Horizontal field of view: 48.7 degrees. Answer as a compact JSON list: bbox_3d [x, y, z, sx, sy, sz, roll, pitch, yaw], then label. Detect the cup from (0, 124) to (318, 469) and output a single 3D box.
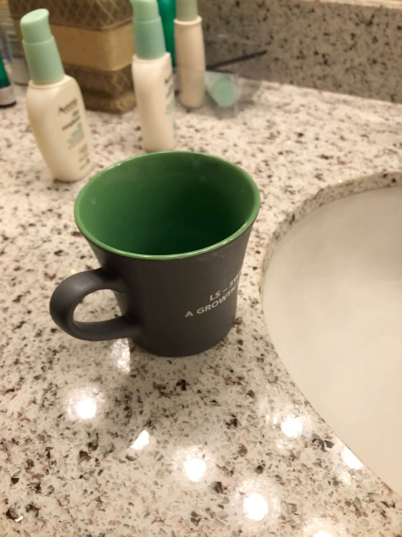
[{"bbox_3d":[-0.017,0.007,0.260,0.100,0.109,0.141,26,51,27],"label":"cup"}]
